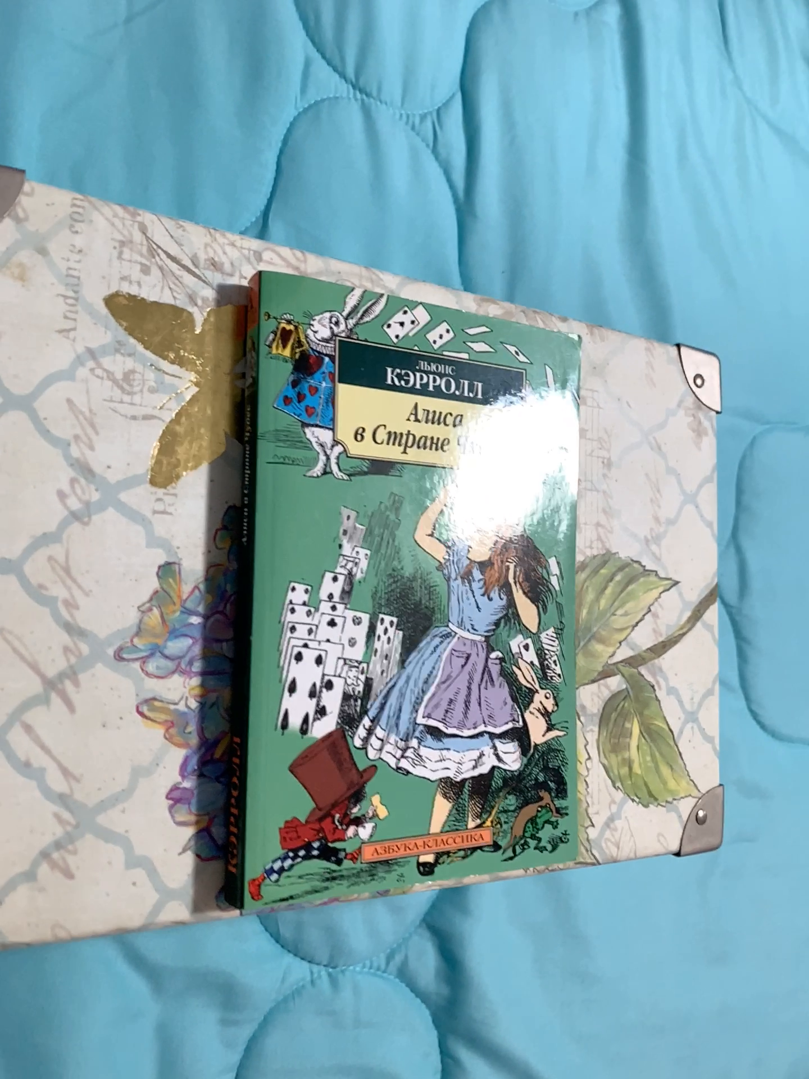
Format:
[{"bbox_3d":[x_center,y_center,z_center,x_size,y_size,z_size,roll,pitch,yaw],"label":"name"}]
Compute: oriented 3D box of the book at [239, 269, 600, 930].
[{"bbox_3d":[0.010,0.017,0.264,0.118,0.018,0.179,3,85,-29],"label":"book"}]
